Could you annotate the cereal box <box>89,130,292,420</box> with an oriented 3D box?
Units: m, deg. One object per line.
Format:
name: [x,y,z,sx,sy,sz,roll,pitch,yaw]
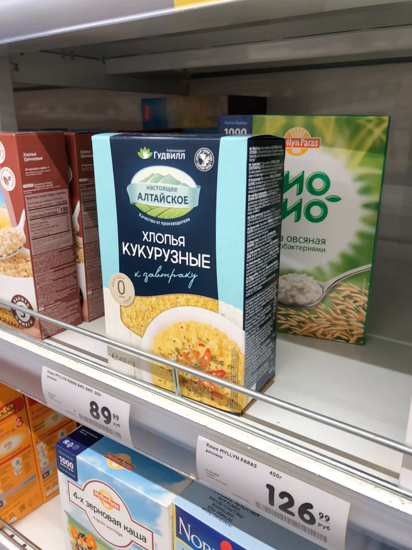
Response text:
cereal box: [-0.013,-0.009,0.344,0.130,0.189,0.060,11,20,32]
